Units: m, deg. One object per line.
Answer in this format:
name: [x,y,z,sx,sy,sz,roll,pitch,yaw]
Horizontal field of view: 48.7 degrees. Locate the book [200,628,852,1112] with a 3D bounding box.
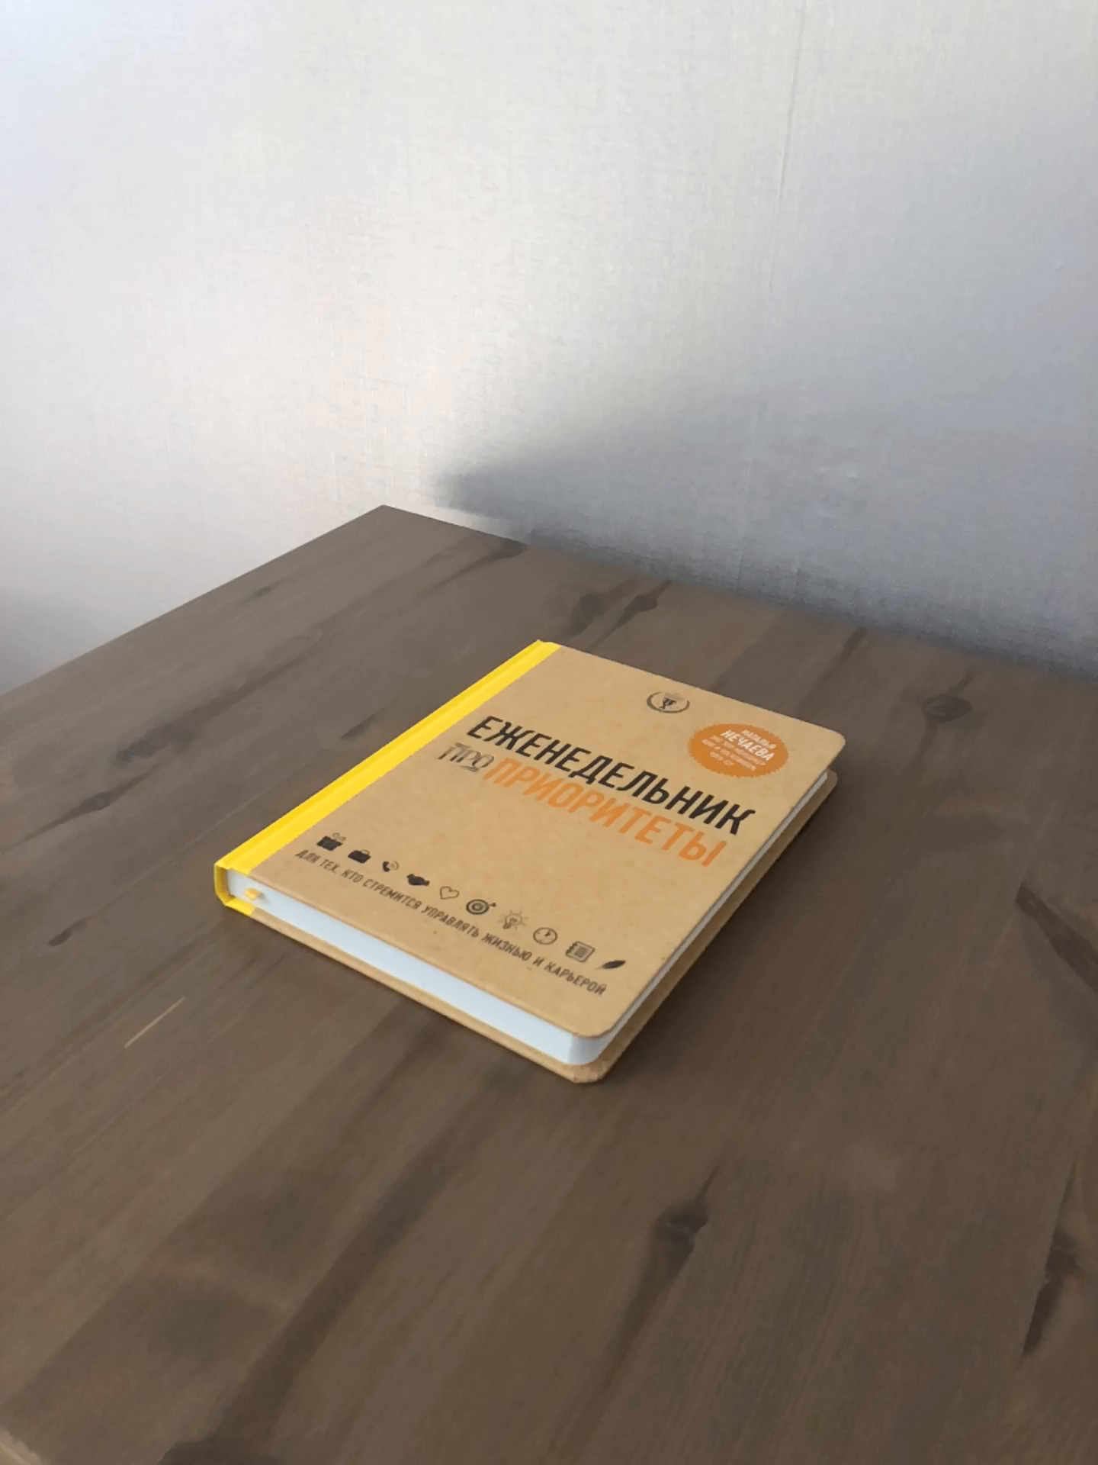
book: [0.001,0.036,0.522,0.180,0.032,0.230,19,37,27]
